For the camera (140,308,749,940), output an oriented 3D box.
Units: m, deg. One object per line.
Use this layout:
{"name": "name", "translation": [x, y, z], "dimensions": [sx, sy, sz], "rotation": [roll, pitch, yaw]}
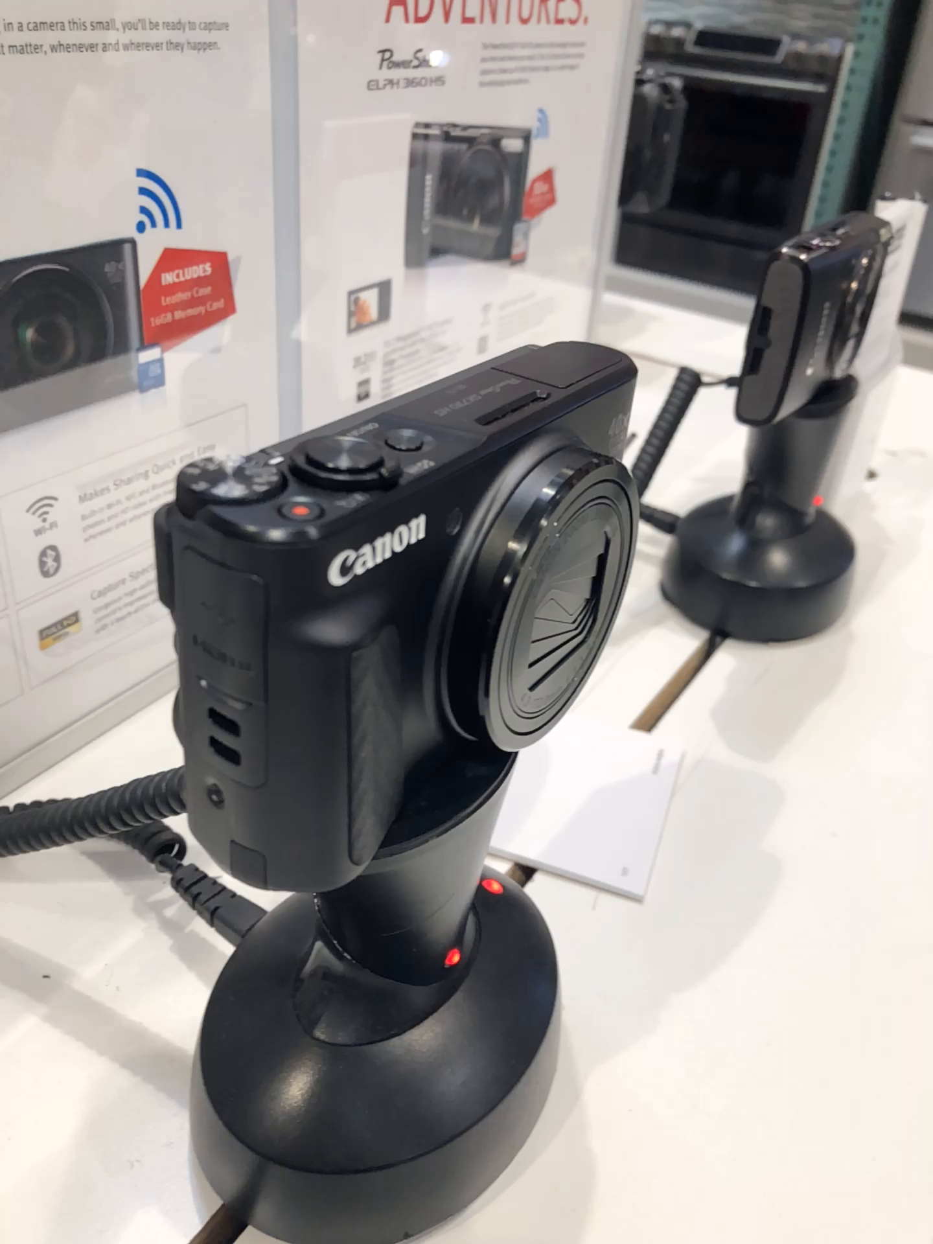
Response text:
{"name": "camera", "translation": [0.003, -0.010, 0.180], "dimensions": [0.040, 0.060, 0.110], "rotation": [24, 37, 26]}
